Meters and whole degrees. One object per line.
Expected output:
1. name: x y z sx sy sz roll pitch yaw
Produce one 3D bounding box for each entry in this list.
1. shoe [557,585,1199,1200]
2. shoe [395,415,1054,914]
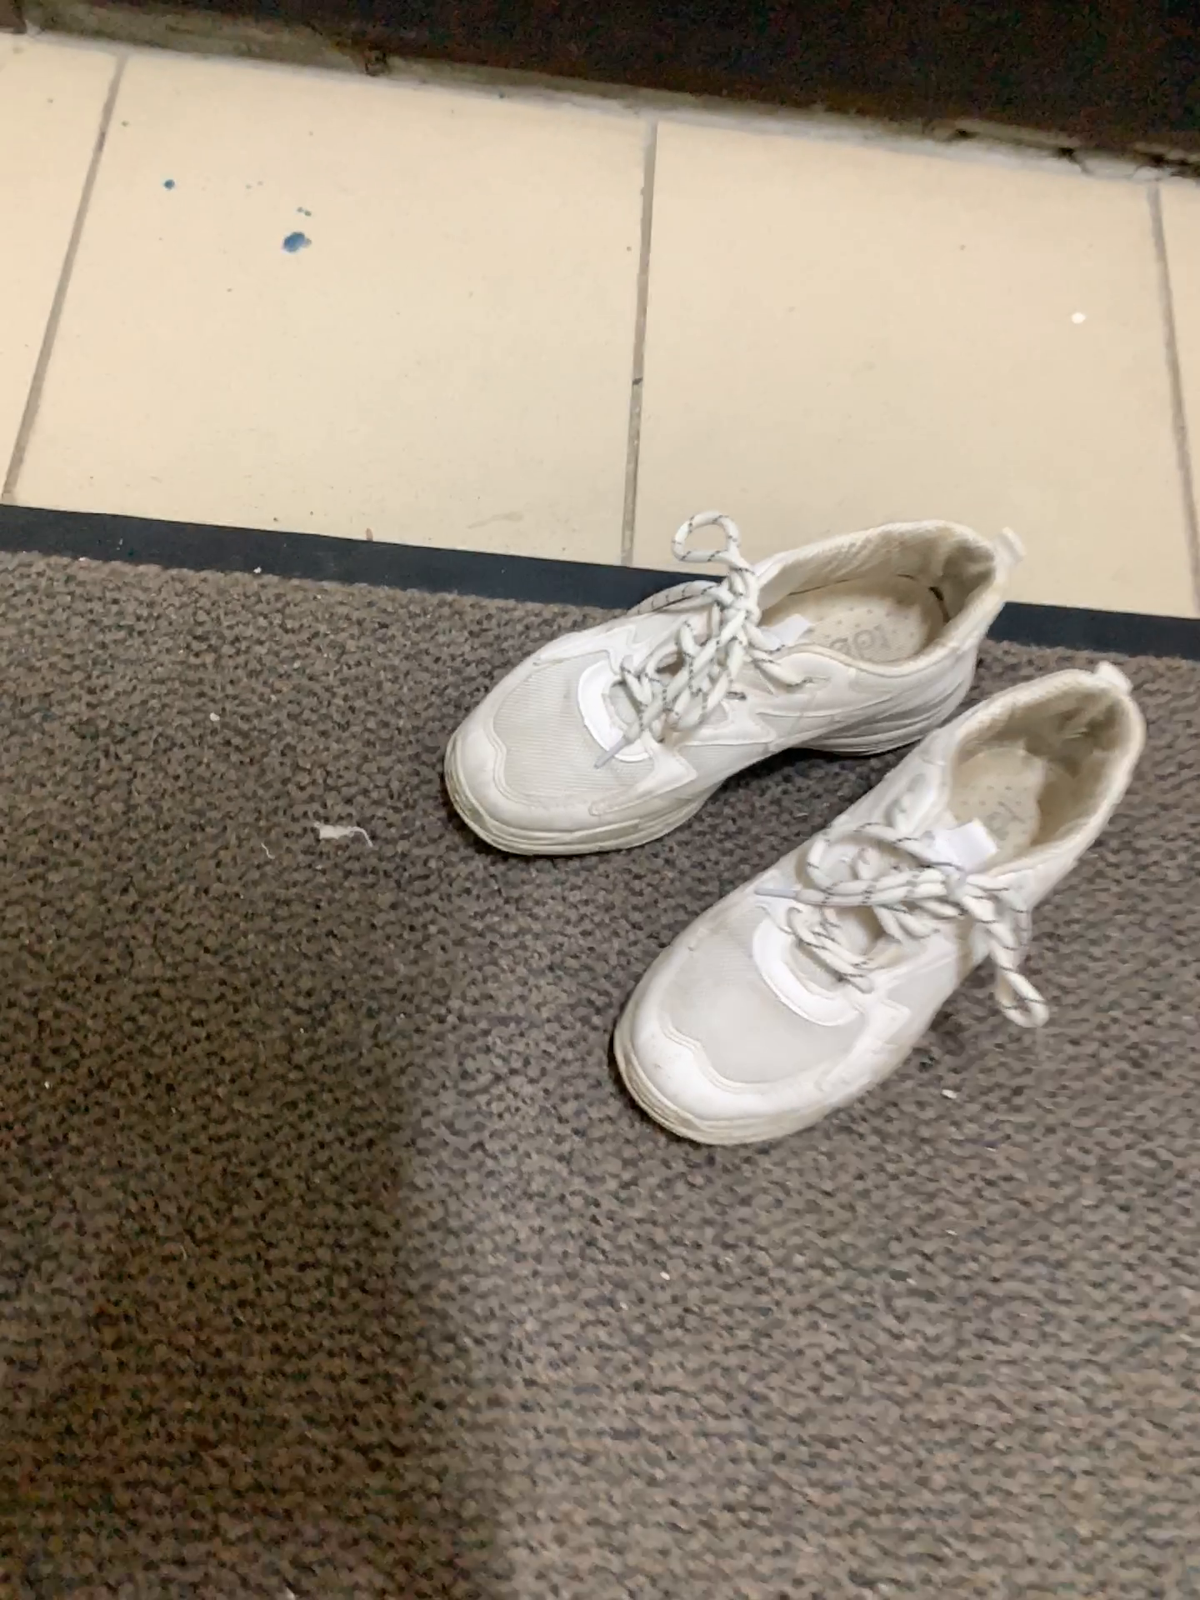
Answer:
1. shoe: 0.109 0.042 0.497 0.230 0.140 0.100 -35 76 -17
2. shoe: 0.042 -0.053 0.525 0.230 0.140 0.100 -18 72 -12
